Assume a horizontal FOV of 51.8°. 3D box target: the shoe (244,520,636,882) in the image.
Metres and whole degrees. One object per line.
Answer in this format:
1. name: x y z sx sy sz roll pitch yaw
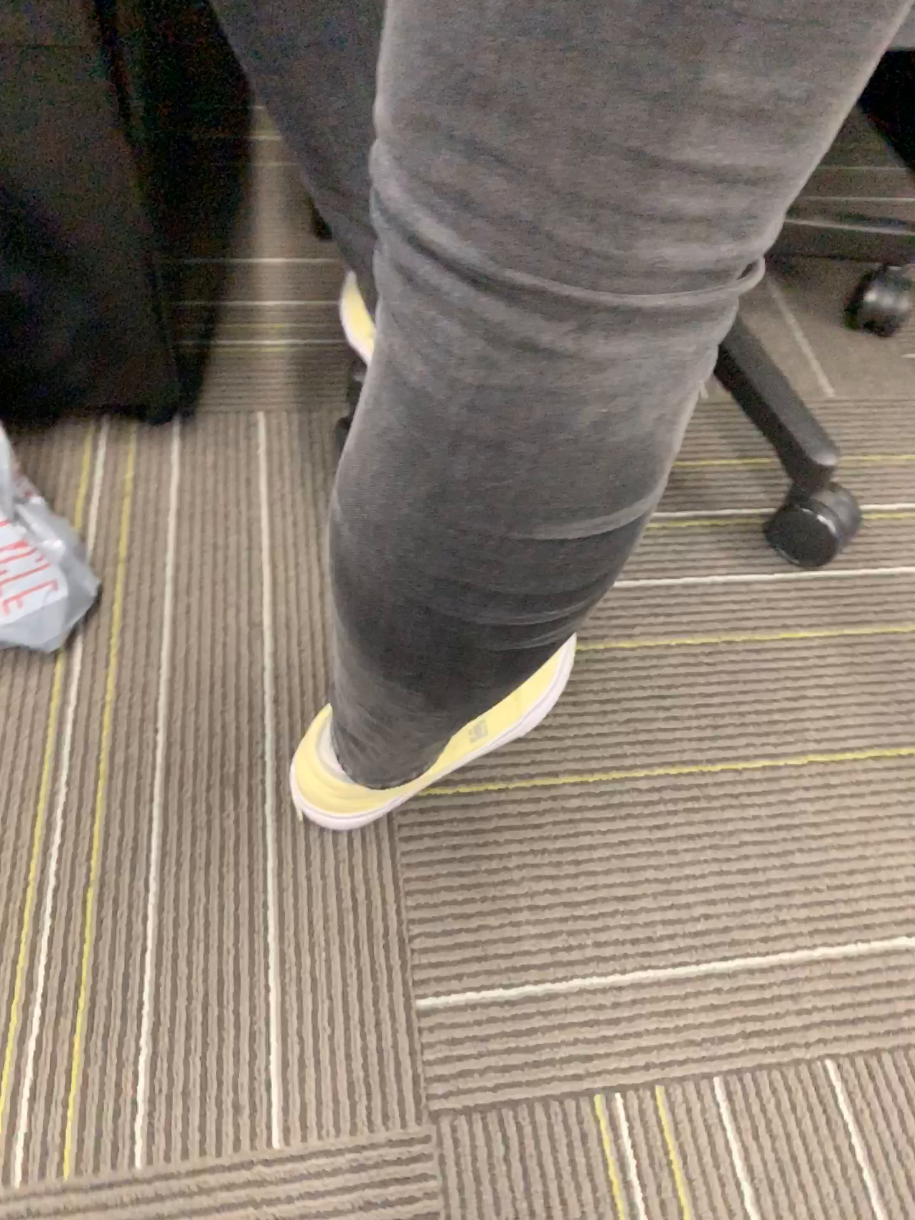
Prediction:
1. shoe: -0.009 0.059 0.688 0.269 0.101 0.102 -33 64 -27

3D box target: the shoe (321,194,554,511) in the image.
1. shoe: -0.027 -0.216 0.763 0.098 0.096 0.261 -13 56 -16
